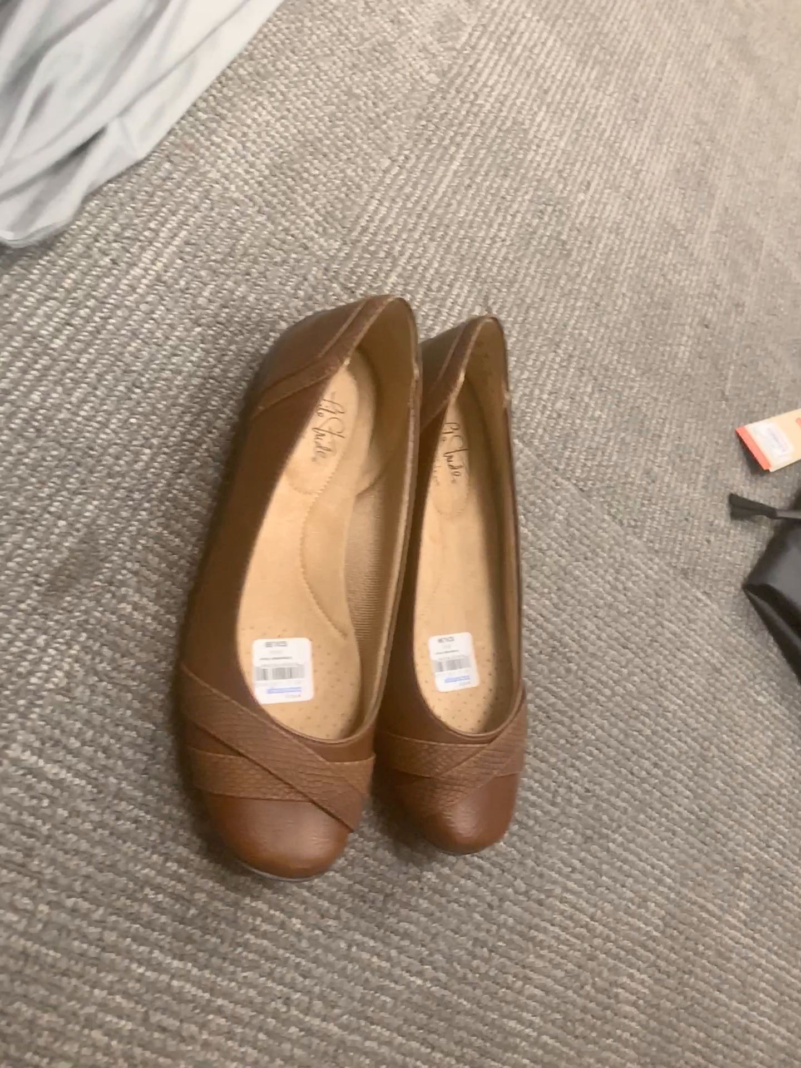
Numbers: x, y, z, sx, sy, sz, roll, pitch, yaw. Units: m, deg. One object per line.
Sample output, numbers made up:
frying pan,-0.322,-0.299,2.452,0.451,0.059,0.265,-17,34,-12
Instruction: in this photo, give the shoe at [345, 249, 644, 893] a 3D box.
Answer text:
shoe,0.039,0.017,0.400,0.099,0.084,0.271,7,75,-34

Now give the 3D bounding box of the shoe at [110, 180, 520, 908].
shoe,-0.028,0.003,0.350,0.100,0.084,0.269,21,67,-30
